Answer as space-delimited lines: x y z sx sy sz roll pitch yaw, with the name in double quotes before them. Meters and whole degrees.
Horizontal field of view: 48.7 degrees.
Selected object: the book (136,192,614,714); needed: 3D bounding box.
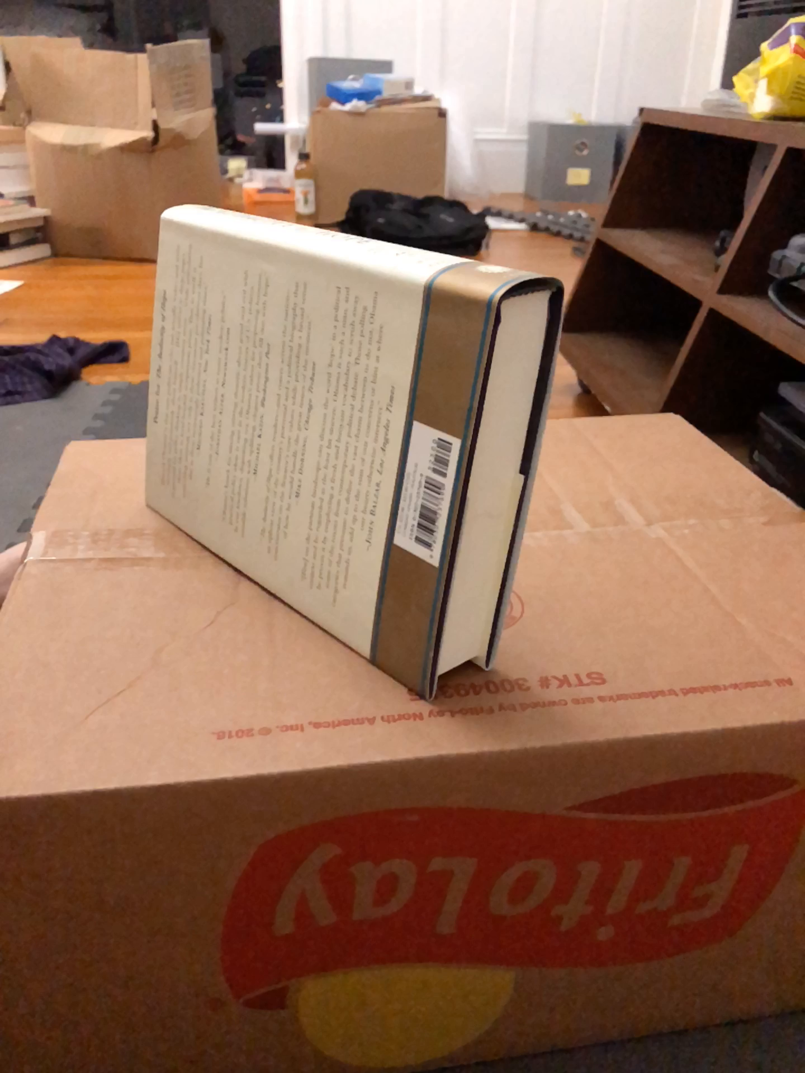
"book" -0.038 -0.058 0.430 0.060 0.169 0.251 -9 28 -42
